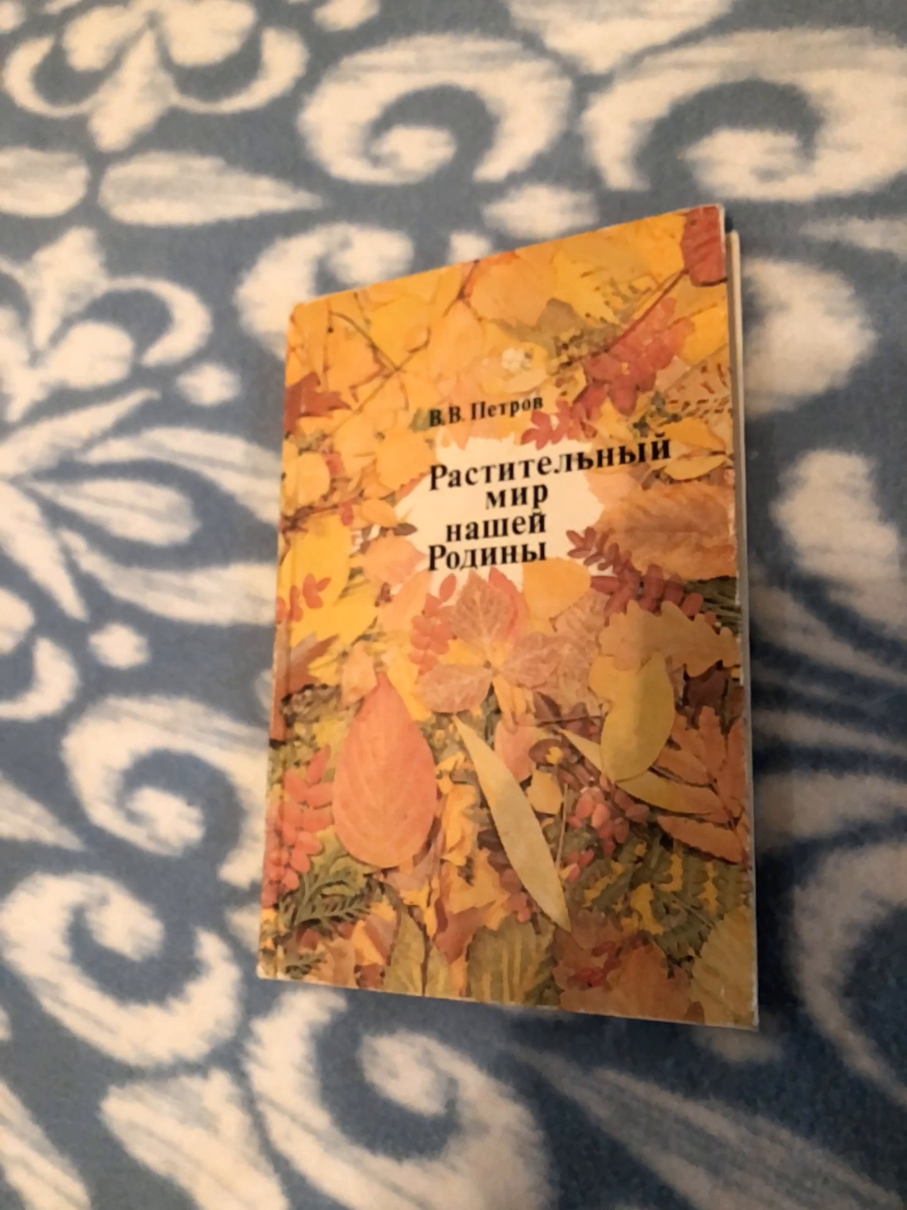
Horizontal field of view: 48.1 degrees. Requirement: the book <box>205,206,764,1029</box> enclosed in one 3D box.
[{"bbox_3d":[0.003,0.002,0.294,0.157,0.020,0.208,-4,79,24],"label":"book"}]
